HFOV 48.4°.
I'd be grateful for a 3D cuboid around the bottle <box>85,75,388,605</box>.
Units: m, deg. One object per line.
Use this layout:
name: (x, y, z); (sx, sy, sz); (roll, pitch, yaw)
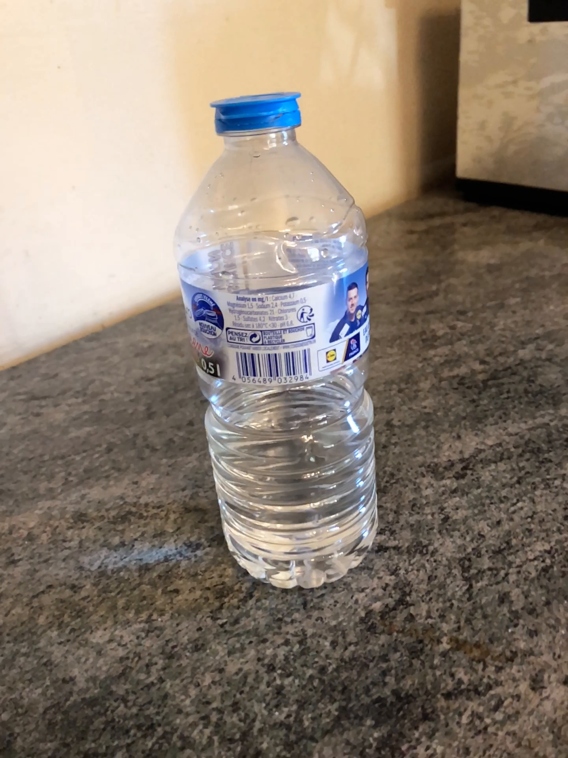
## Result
bottle: (-0.002, -0.009, 0.226); (0.070, 0.169, 0.070); (-5, 29, 3)
